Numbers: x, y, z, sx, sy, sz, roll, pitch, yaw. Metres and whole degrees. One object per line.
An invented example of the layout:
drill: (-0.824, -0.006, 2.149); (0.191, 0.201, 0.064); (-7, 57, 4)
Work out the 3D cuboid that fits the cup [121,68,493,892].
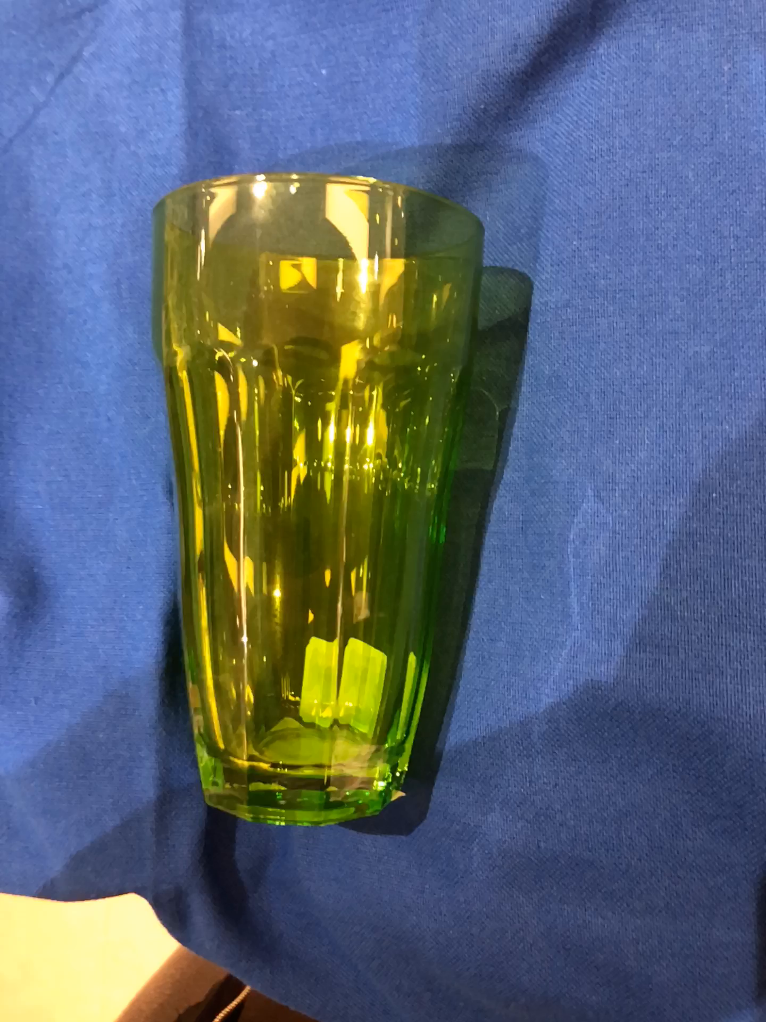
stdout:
cup: (-0.014, -0.007, 0.209); (0.070, 0.070, 0.160); (1, 93, 14)
